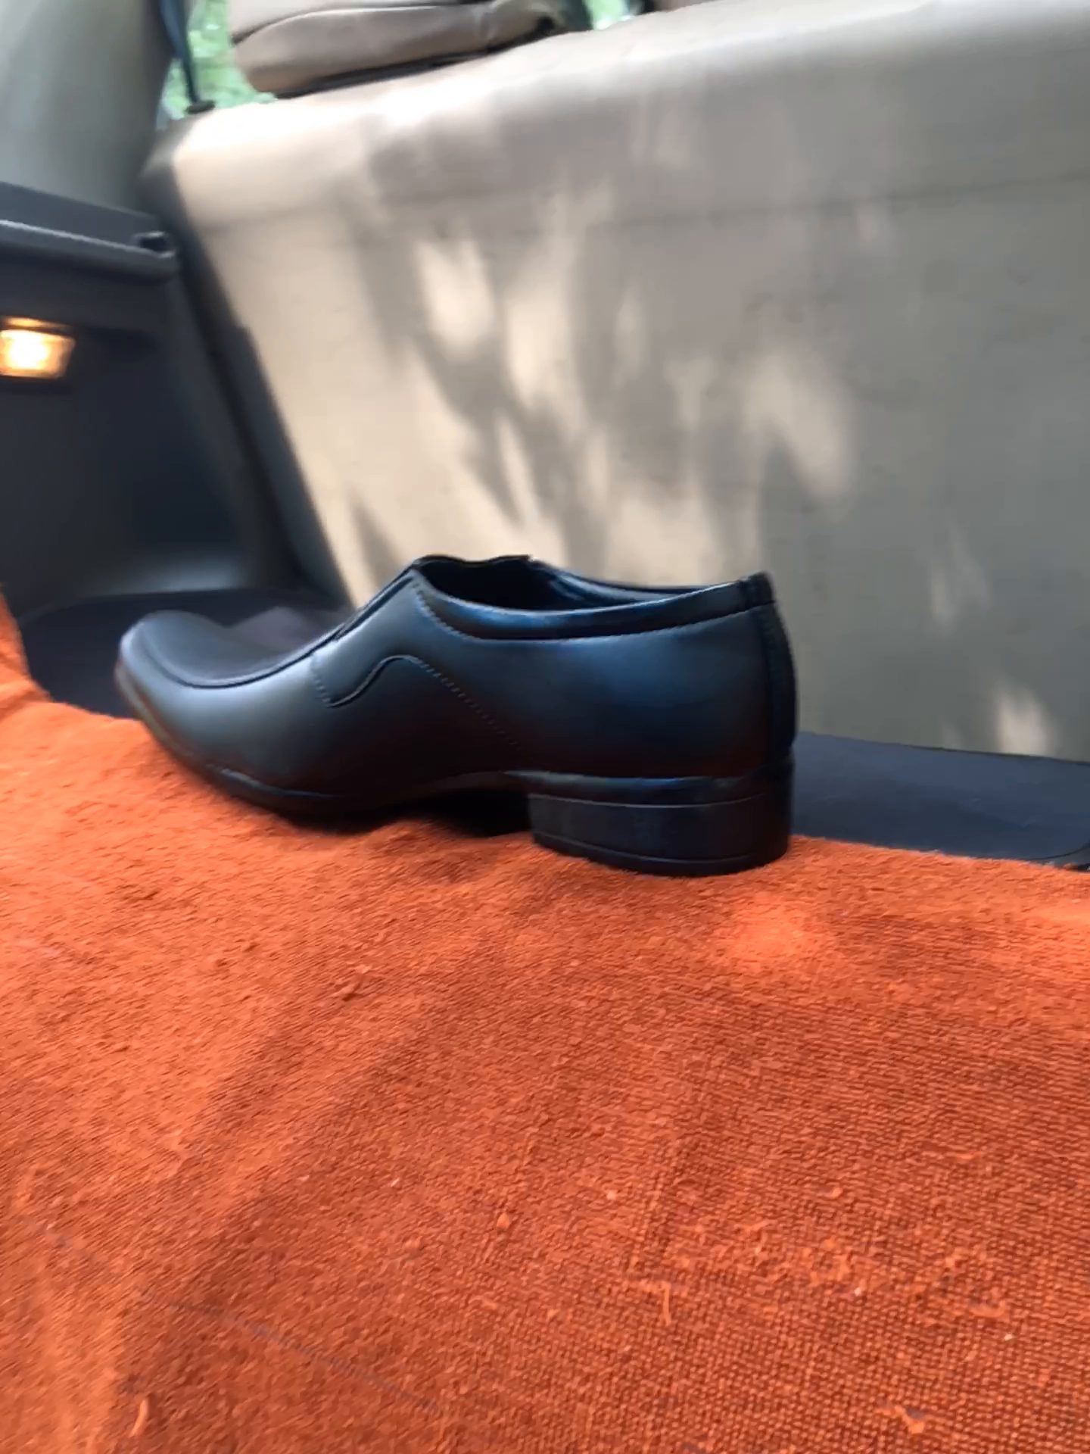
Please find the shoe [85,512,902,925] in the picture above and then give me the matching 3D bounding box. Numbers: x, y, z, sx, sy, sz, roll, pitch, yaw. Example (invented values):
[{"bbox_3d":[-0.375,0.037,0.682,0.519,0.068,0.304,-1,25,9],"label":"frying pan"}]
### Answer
[{"bbox_3d":[-0.031,-0.027,0.486,0.290,0.100,0.161,11,17,40],"label":"shoe"}]
